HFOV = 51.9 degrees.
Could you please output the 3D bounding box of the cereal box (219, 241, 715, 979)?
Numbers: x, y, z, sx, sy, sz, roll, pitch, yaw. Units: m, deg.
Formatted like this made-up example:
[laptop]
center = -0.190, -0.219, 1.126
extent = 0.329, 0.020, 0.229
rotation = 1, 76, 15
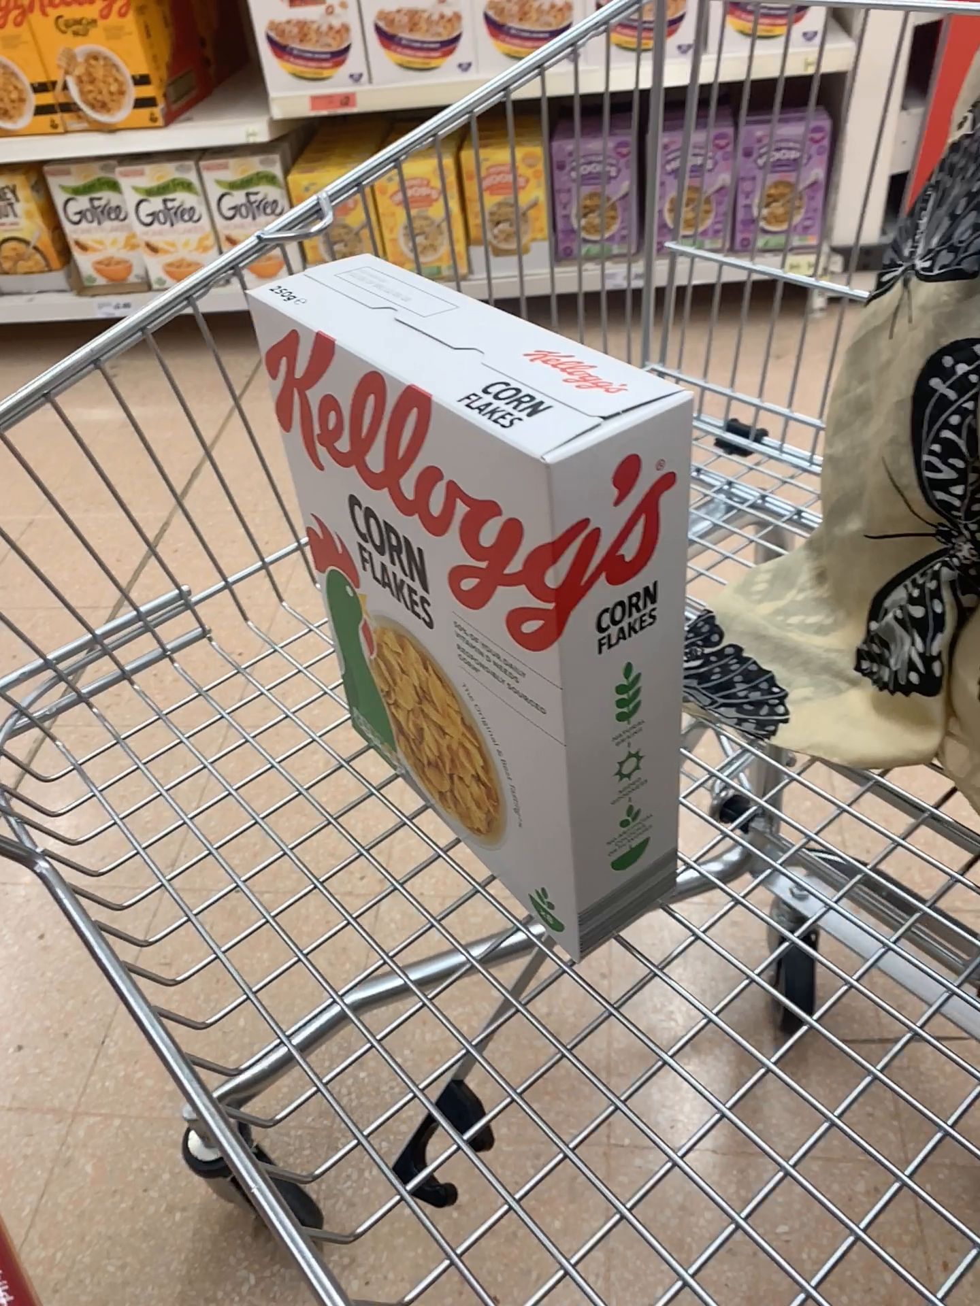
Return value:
[cereal box]
center = -0.009, -0.017, 0.413
extent = 0.060, 0.238, 0.201
rotation = -30, 45, -24
